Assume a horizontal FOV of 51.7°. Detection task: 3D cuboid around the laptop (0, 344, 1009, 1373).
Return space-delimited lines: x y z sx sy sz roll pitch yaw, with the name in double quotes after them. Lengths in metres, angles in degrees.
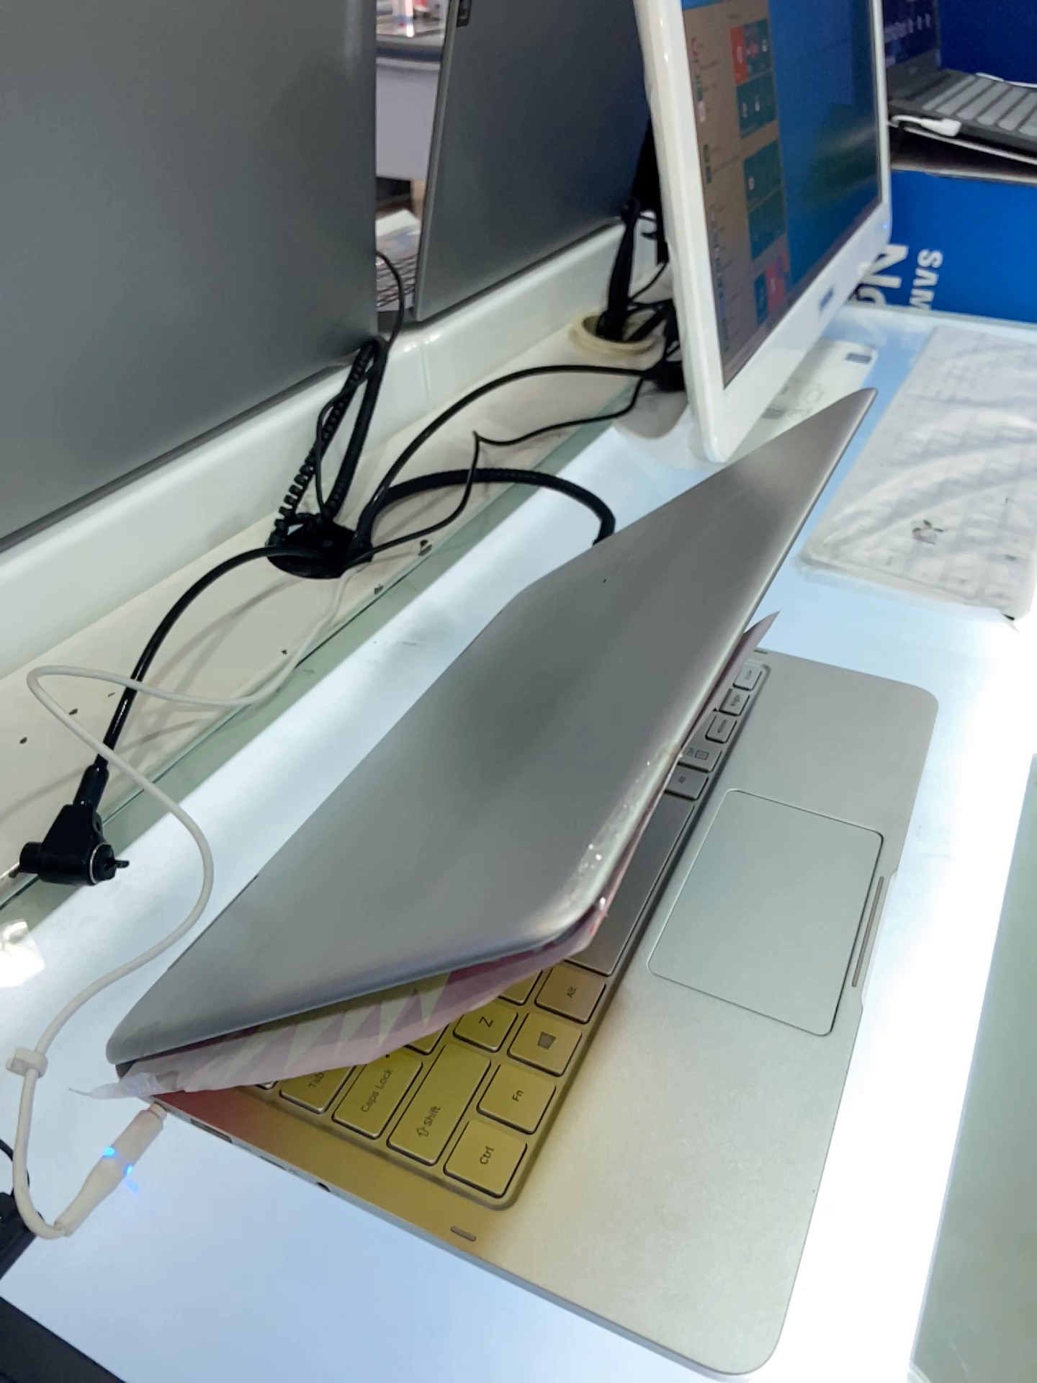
0.030 0.004 0.367 0.201 0.132 0.308 15 38 21 "laptop"
